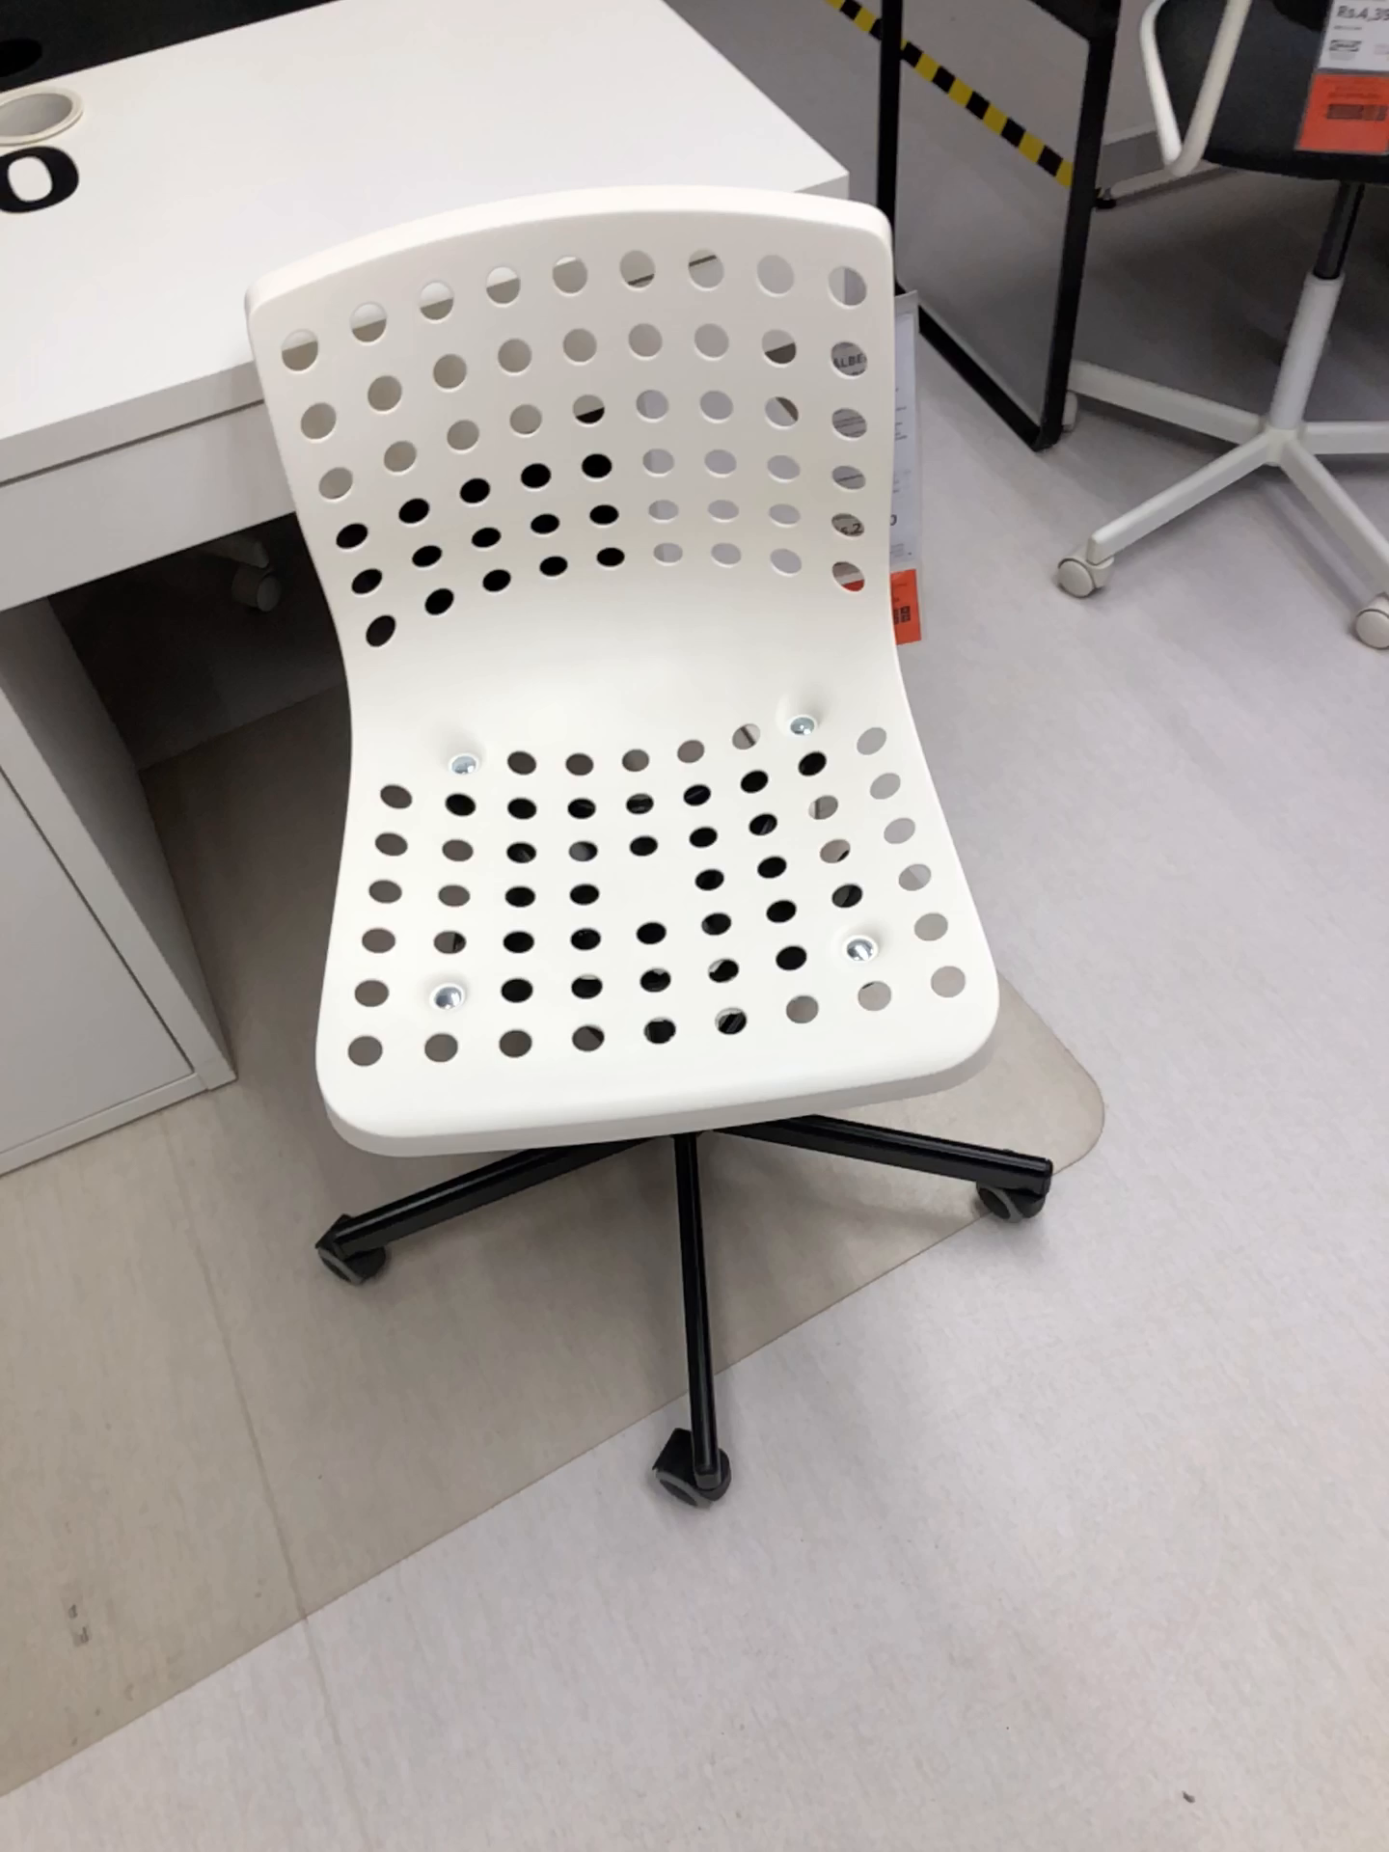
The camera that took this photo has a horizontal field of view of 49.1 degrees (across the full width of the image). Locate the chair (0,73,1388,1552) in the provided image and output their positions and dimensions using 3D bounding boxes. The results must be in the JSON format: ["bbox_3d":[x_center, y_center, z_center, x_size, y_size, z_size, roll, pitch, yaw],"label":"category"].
[{"bbox_3d":[-0.041,-0.035,1.082,0.670,0.746,0.654,-6,52,0],"label":"chair"}]
